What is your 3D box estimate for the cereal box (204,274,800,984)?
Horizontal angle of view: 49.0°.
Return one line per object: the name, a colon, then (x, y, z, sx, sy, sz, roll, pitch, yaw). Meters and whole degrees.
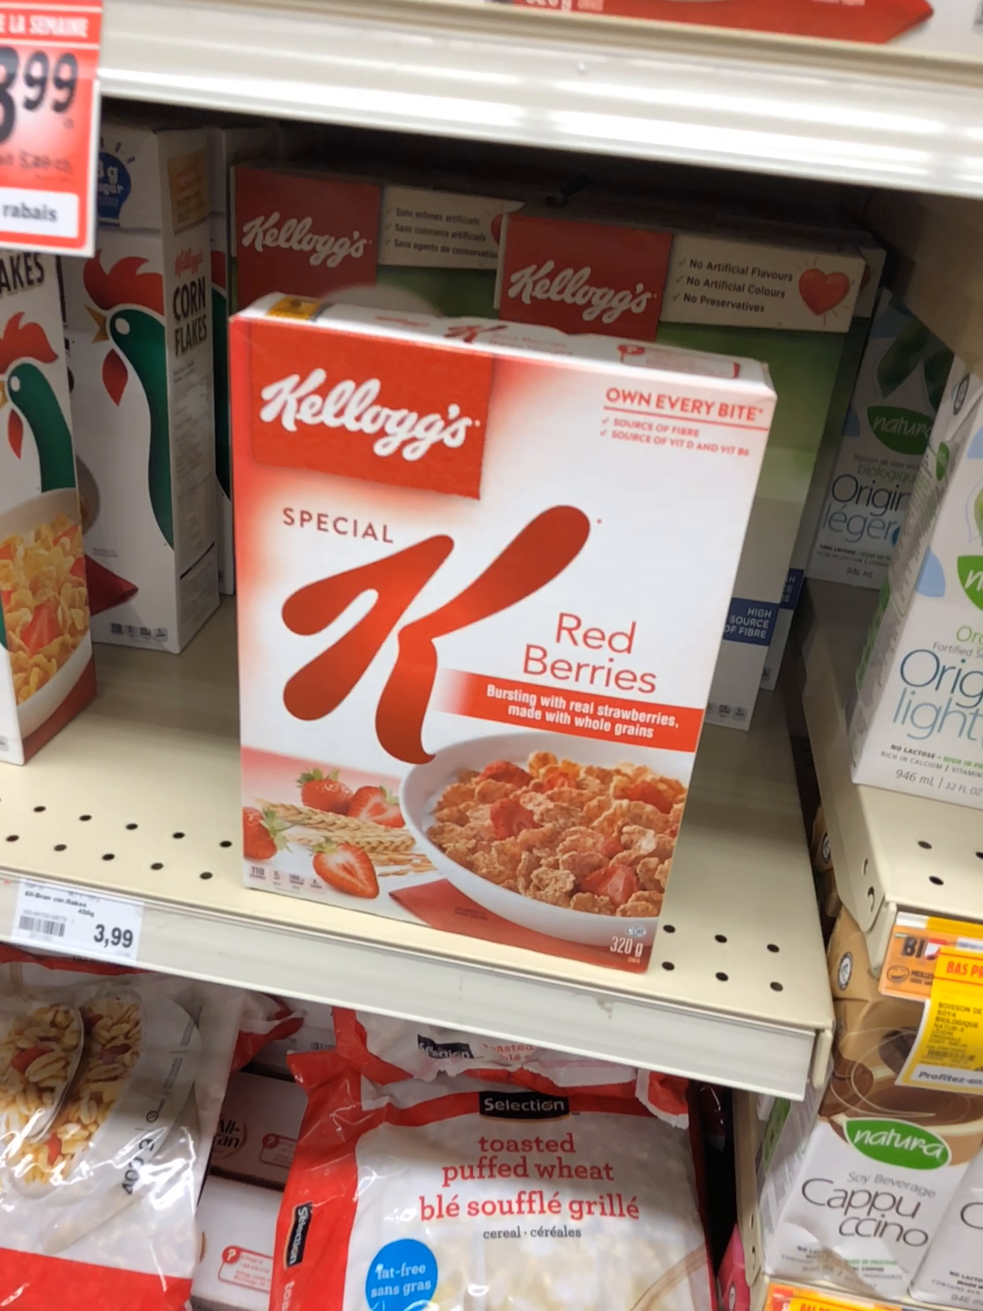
cereal box: (-0.007, -0.002, 0.467, 0.210, 0.278, 0.060, 10, 30, 7)
